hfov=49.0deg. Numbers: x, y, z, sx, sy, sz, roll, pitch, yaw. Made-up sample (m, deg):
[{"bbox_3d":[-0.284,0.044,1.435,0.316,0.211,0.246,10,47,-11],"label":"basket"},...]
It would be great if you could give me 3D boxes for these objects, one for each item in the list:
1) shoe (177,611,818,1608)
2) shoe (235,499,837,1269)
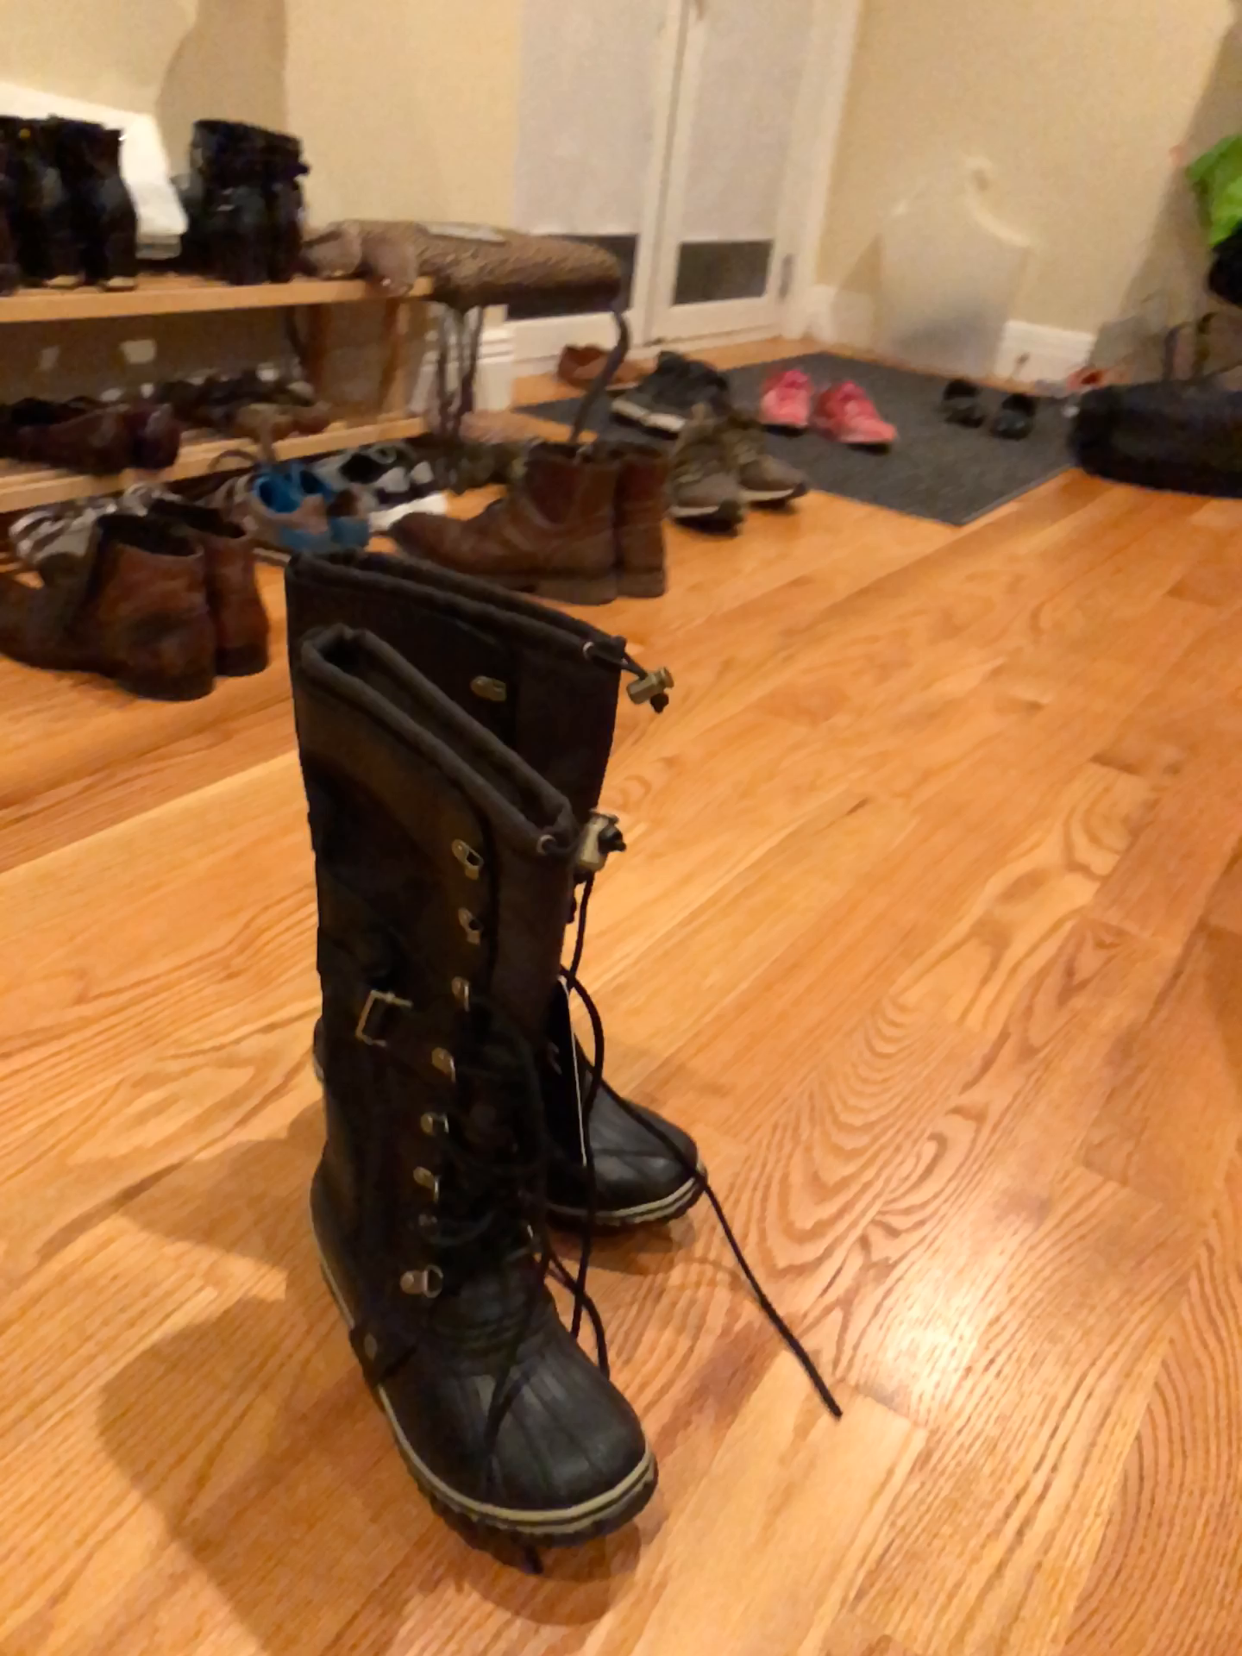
[{"bbox_3d":[-0.075,0.103,0.577,0.100,0.308,0.261,-18,36,-40],"label":"shoe"},{"bbox_3d":[-0.056,0.028,0.704,0.260,0.328,0.100,16,28,15],"label":"shoe"}]
